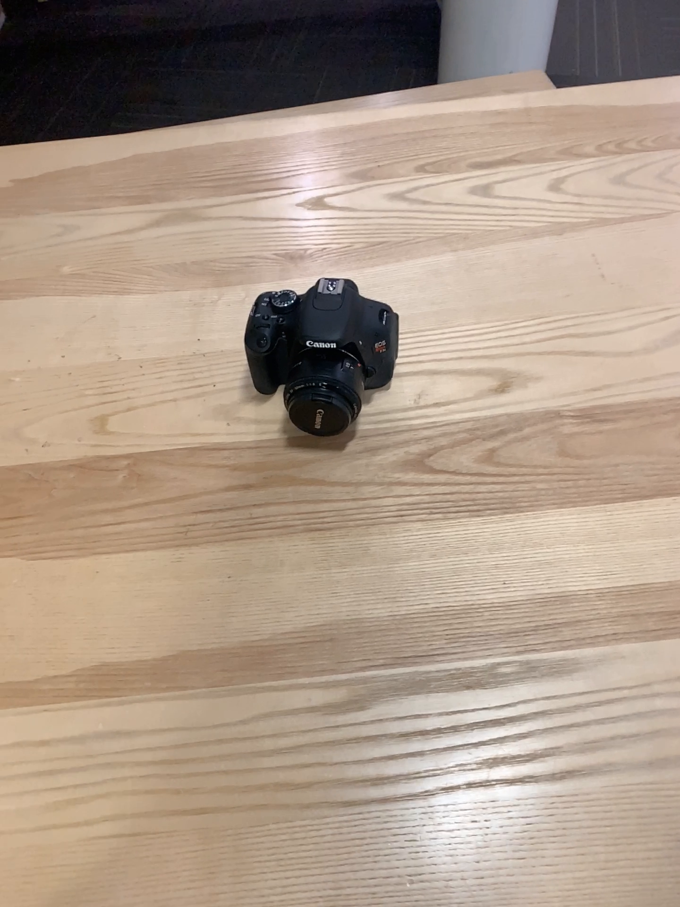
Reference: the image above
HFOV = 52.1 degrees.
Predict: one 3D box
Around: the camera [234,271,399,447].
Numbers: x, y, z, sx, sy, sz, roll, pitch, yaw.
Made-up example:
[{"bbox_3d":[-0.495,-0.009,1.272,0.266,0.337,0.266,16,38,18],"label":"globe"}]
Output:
[{"bbox_3d":[-0.014,-0.084,0.616,0.123,0.094,0.116,3,54,6],"label":"camera"}]
